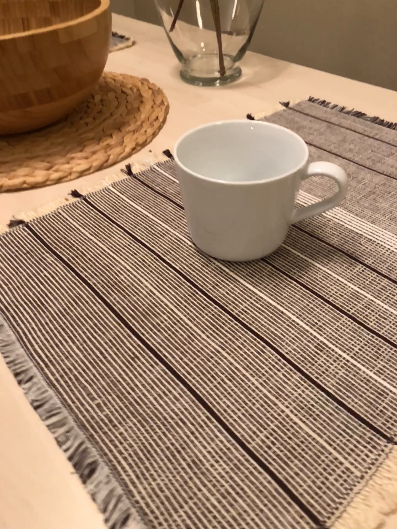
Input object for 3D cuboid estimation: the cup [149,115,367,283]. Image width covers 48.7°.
[{"bbox_3d":[0.049,-0.058,0.346,0.140,0.070,0.101,11,43,16],"label":"cup"}]
